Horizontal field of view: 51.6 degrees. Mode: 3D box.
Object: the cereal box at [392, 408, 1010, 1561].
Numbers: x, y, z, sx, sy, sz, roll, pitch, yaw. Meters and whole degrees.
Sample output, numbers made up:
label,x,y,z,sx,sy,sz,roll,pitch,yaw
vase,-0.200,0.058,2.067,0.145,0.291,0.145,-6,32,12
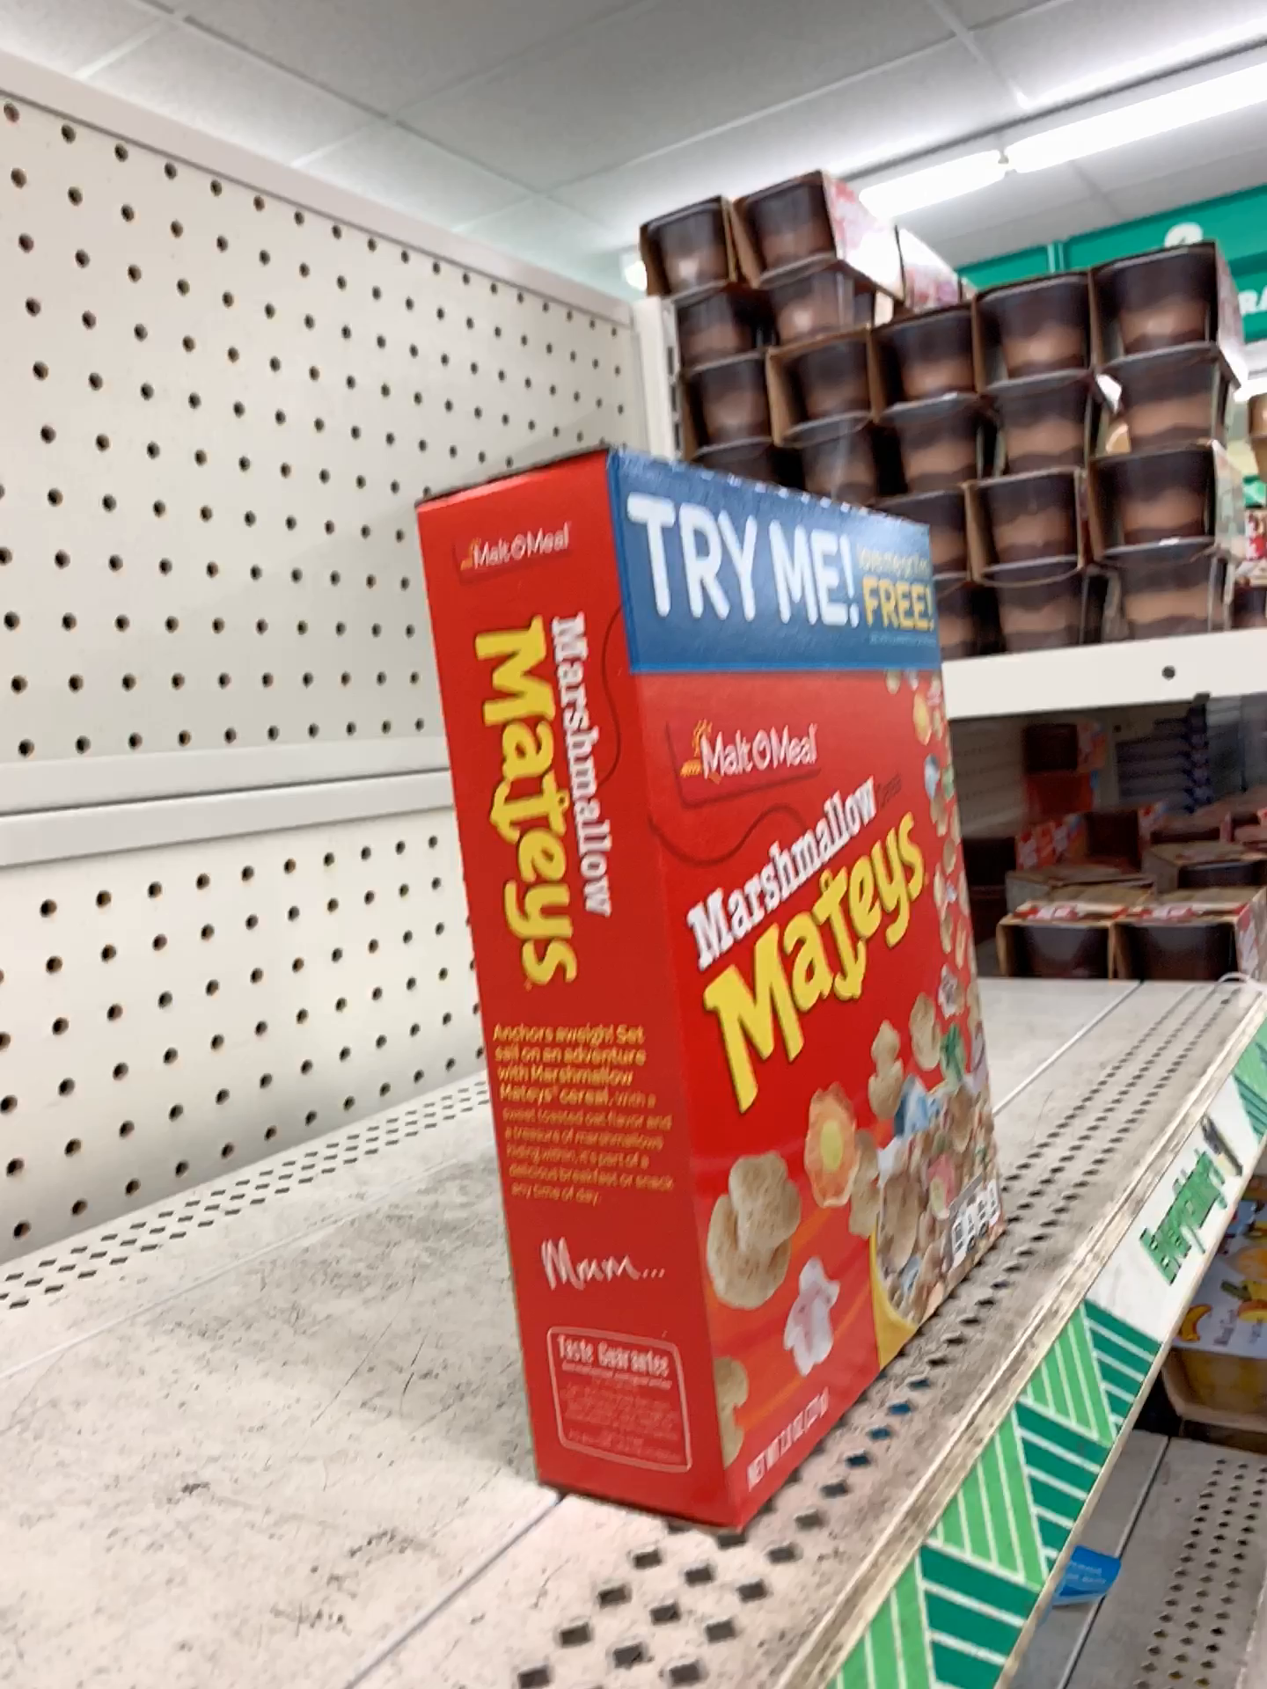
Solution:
label,x,y,z,sx,sy,sz,roll,pitch,yaw
cereal box,0.033,0.020,0.345,0.050,0.230,0.180,-5,4,35
